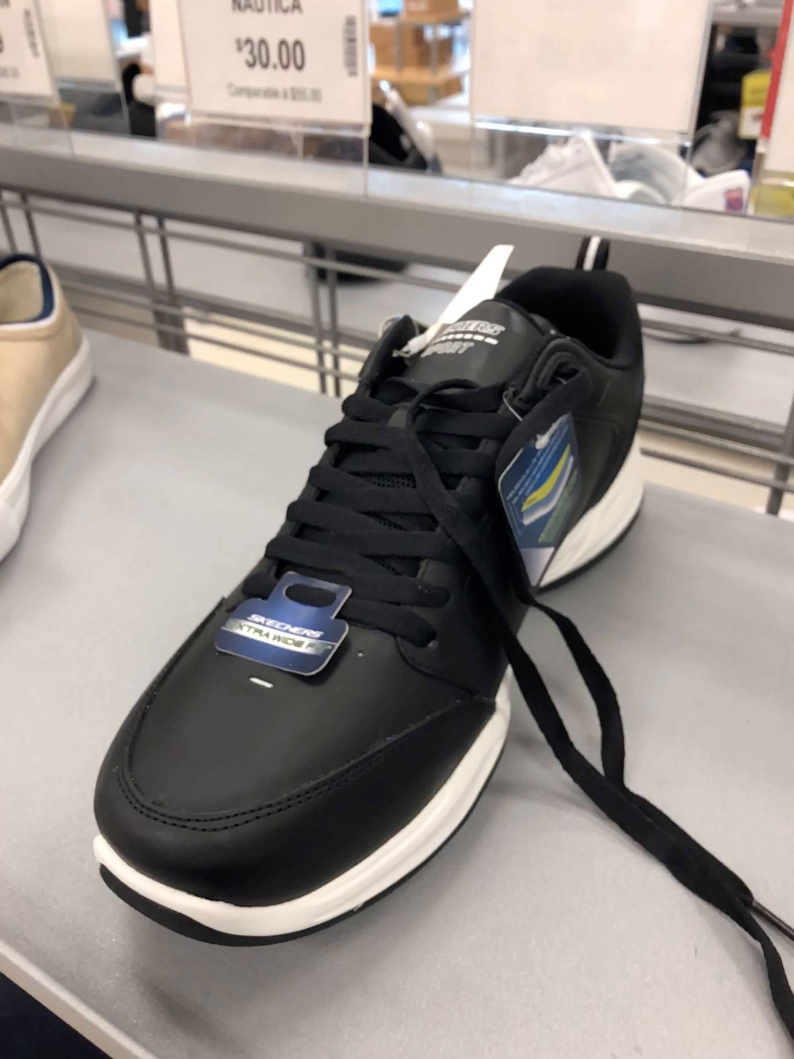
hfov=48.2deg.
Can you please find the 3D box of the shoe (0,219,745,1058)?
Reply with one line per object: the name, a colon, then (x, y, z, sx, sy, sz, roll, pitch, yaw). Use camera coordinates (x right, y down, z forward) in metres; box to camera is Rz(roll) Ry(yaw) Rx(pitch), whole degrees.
shoe: (0.016, -0.013, 0.352, 0.130, 0.109, 0.352, 19, 40, 26)
